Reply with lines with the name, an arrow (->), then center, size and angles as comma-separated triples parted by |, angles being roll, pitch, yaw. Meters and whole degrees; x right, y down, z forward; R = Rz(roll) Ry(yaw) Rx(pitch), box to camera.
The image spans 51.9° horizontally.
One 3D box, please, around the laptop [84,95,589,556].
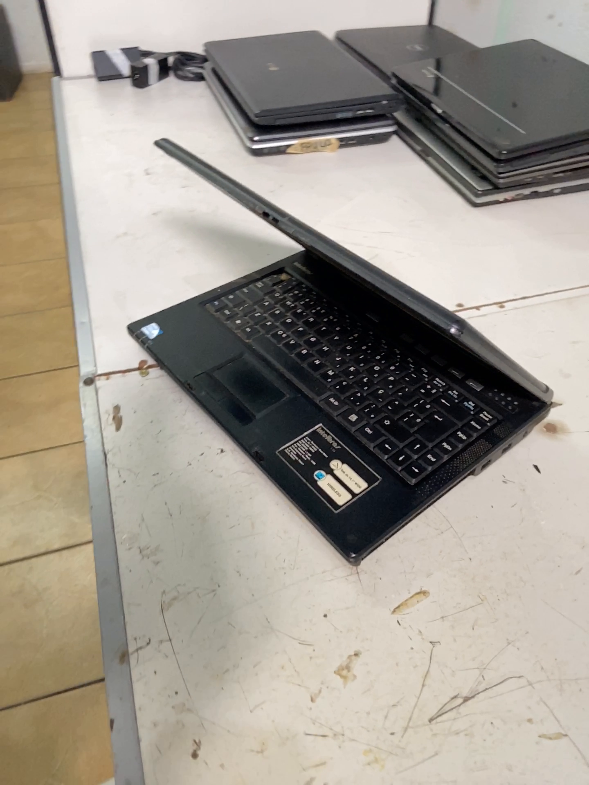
laptop -> 0.027, -0.088, 0.499 | 0.236, 0.168, 0.325 | -29, 51, -28
